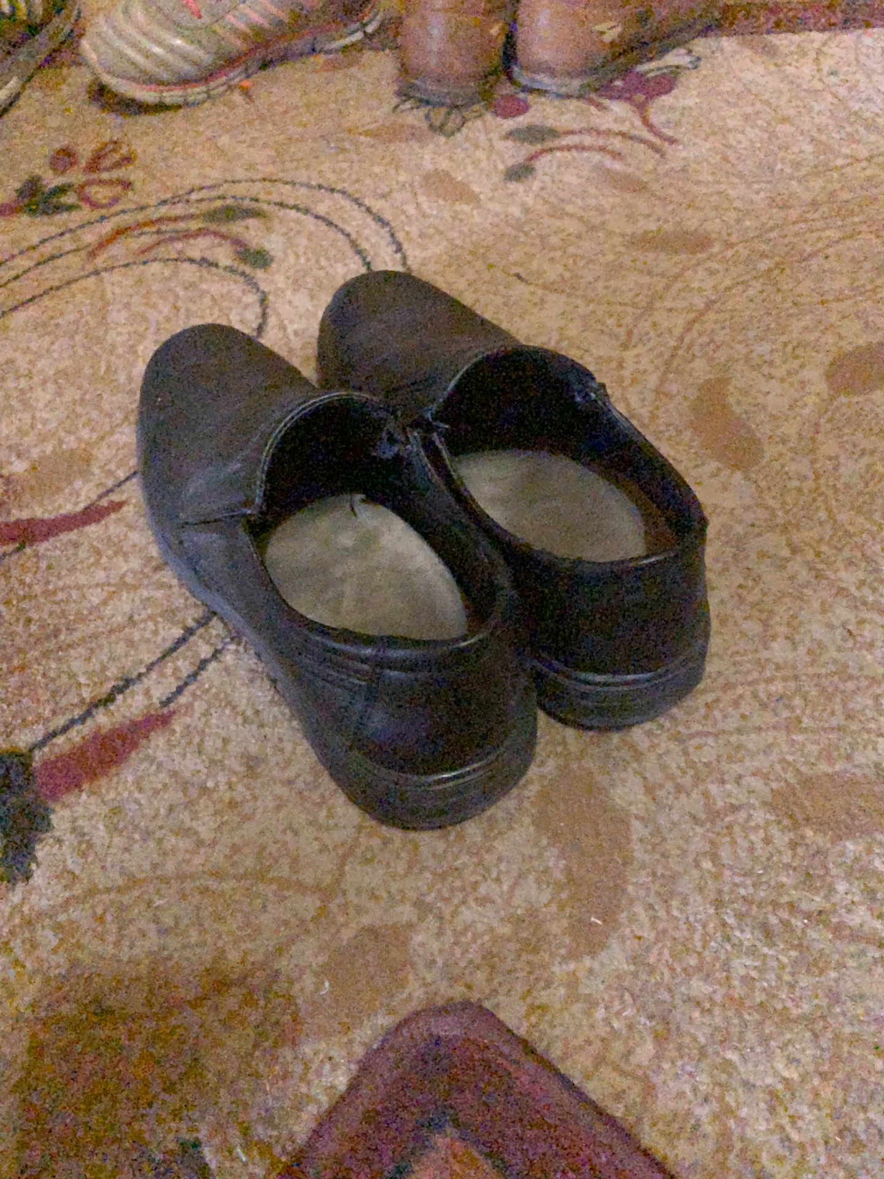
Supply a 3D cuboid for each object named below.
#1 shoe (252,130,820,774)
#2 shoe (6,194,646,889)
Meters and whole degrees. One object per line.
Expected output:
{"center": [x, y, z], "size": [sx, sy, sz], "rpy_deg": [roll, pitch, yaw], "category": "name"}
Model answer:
{"center": [0.017, -0.081, 0.405], "size": [0.100, 0.099, 0.292], "rpy_deg": [-21, 54, -14], "category": "shoe"}
{"center": [-0.062, -0.040, 0.377], "size": [0.100, 0.099, 0.291], "rpy_deg": [-30, 57, -20], "category": "shoe"}
